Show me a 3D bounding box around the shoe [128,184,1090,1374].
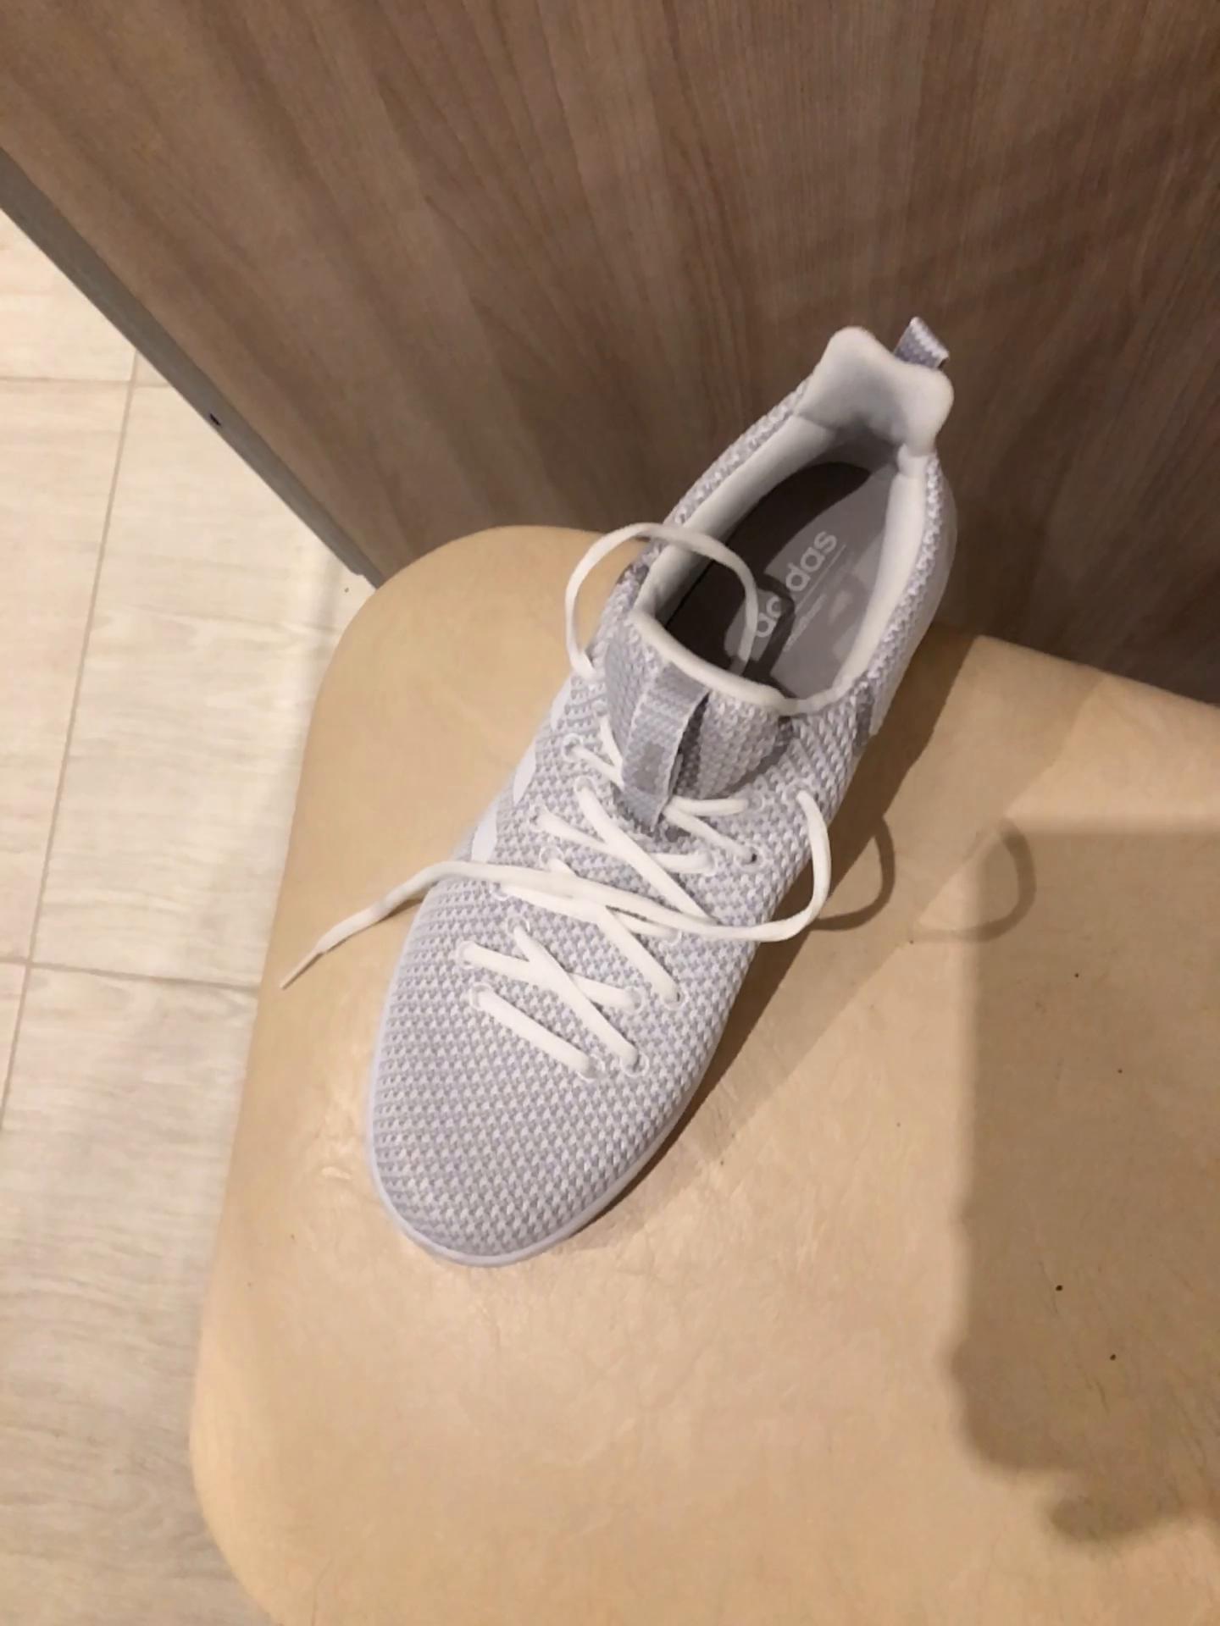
[{"bbox_3d":[0.009,-0.008,0.411,0.110,0.130,0.300,31,86,12],"label":"shoe"}]
